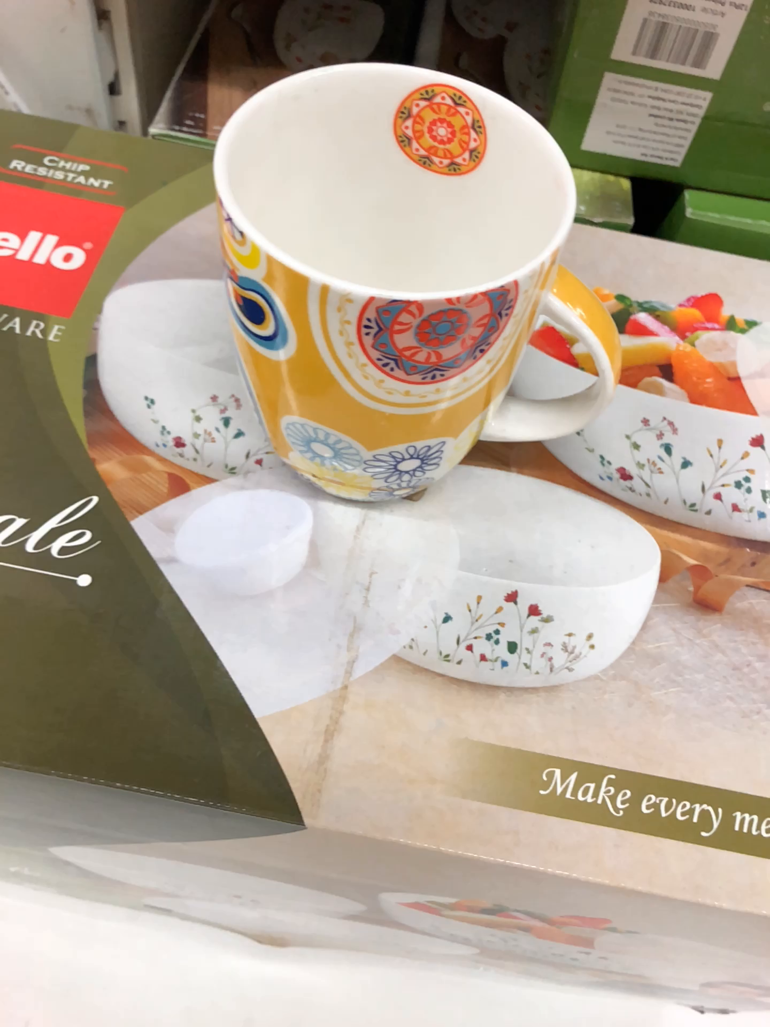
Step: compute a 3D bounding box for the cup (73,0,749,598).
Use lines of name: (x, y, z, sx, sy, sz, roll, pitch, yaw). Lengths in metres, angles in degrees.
cup: (0.008, -0.058, 0.216, 0.120, 0.090, 0.091, 20, 56, 5)
